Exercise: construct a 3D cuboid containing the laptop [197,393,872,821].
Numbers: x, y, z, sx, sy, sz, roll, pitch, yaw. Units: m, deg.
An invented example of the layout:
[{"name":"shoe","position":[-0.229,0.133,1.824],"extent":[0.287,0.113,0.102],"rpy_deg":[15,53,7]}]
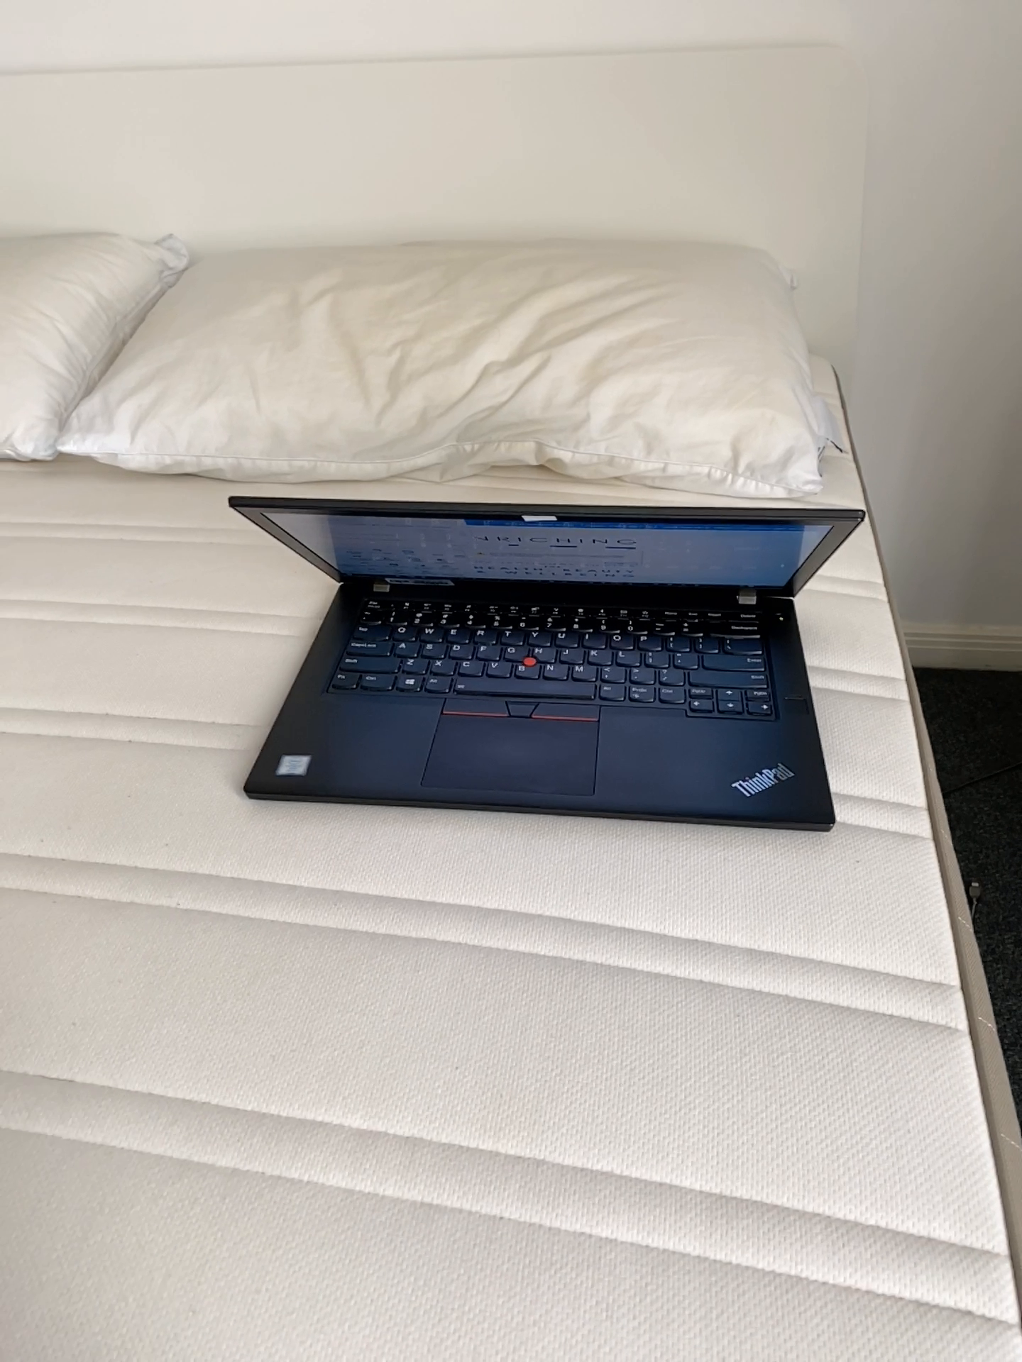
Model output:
[{"name":"laptop","position":[0.022,-0.057,0.629],"extent":[0.324,0.151,0.221],"rpy_deg":[2,37,6]}]
